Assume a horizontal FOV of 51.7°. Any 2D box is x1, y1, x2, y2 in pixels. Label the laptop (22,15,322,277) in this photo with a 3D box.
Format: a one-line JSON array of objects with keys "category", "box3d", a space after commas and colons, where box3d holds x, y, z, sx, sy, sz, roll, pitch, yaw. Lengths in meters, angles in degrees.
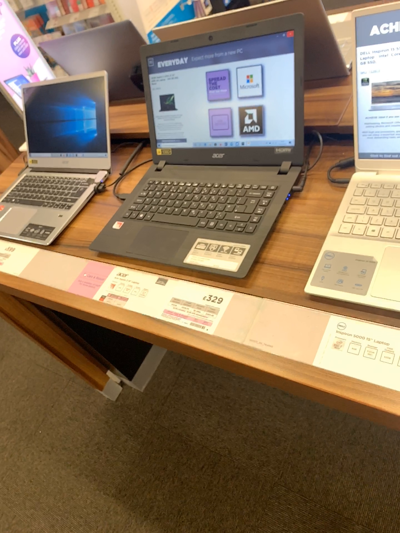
[{"category": "laptop", "box3d": [-0.025, -0.206, 0.690, 0.326, 0.193, 0.356, 10, 56, 34]}]
